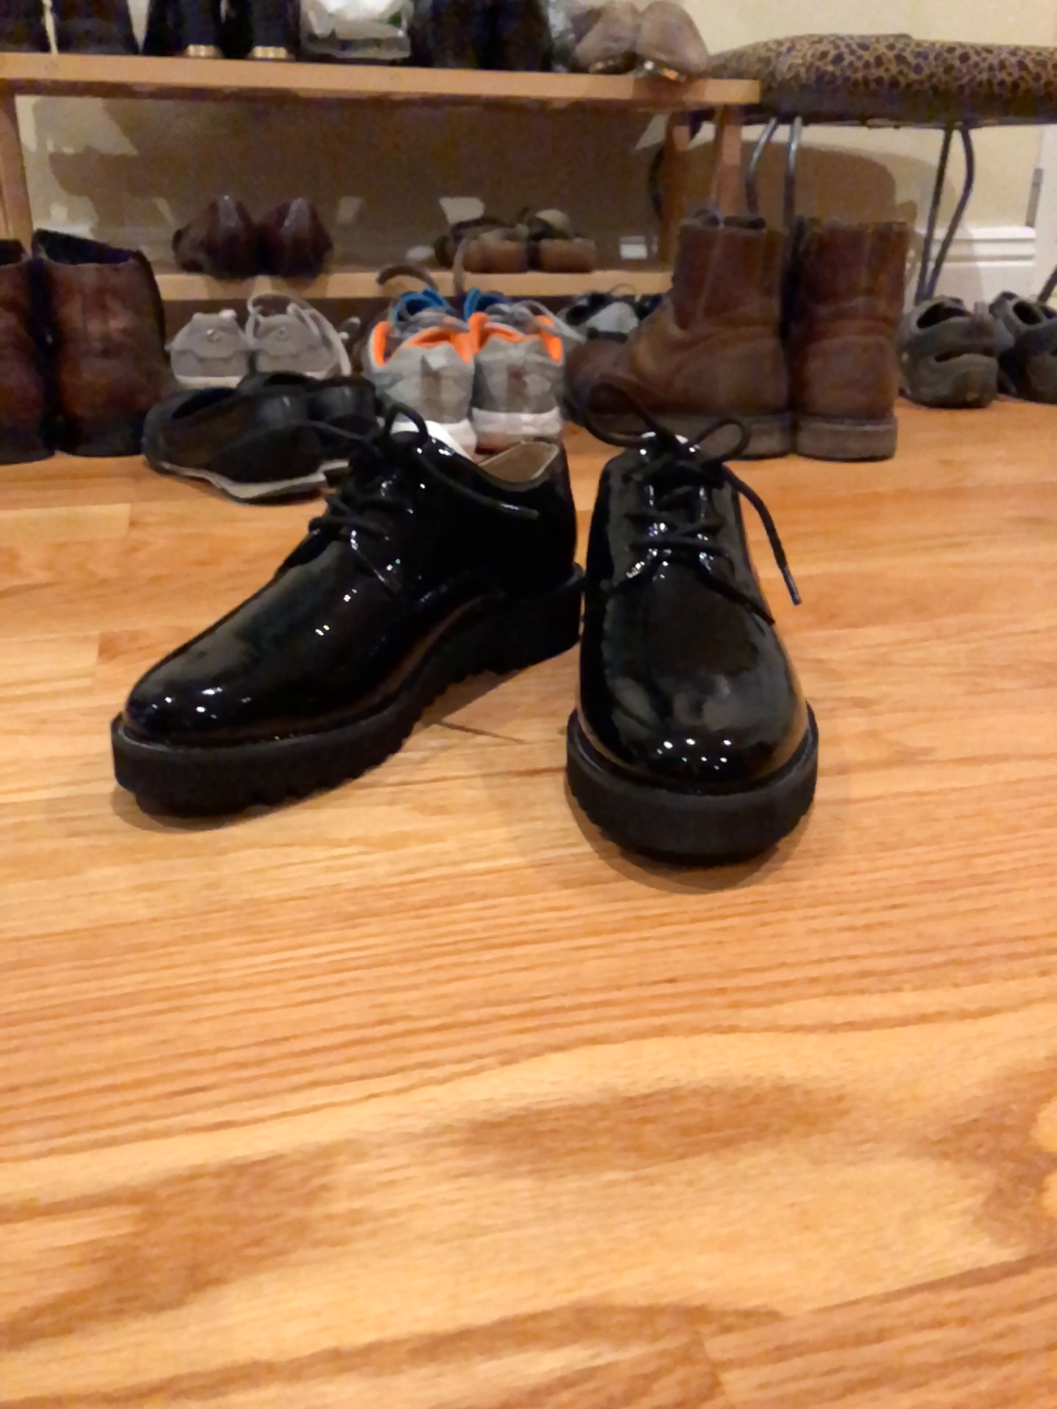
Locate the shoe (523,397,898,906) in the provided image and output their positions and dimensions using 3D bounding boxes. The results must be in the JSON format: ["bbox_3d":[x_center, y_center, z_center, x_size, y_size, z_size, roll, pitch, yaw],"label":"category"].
[{"bbox_3d":[0.058,-0.041,0.435,0.095,0.101,0.252,3,24,5],"label":"shoe"}]

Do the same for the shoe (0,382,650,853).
[{"bbox_3d":[-0.062,-0.054,0.451,0.095,0.101,0.252,17,29,33],"label":"shoe"}]
